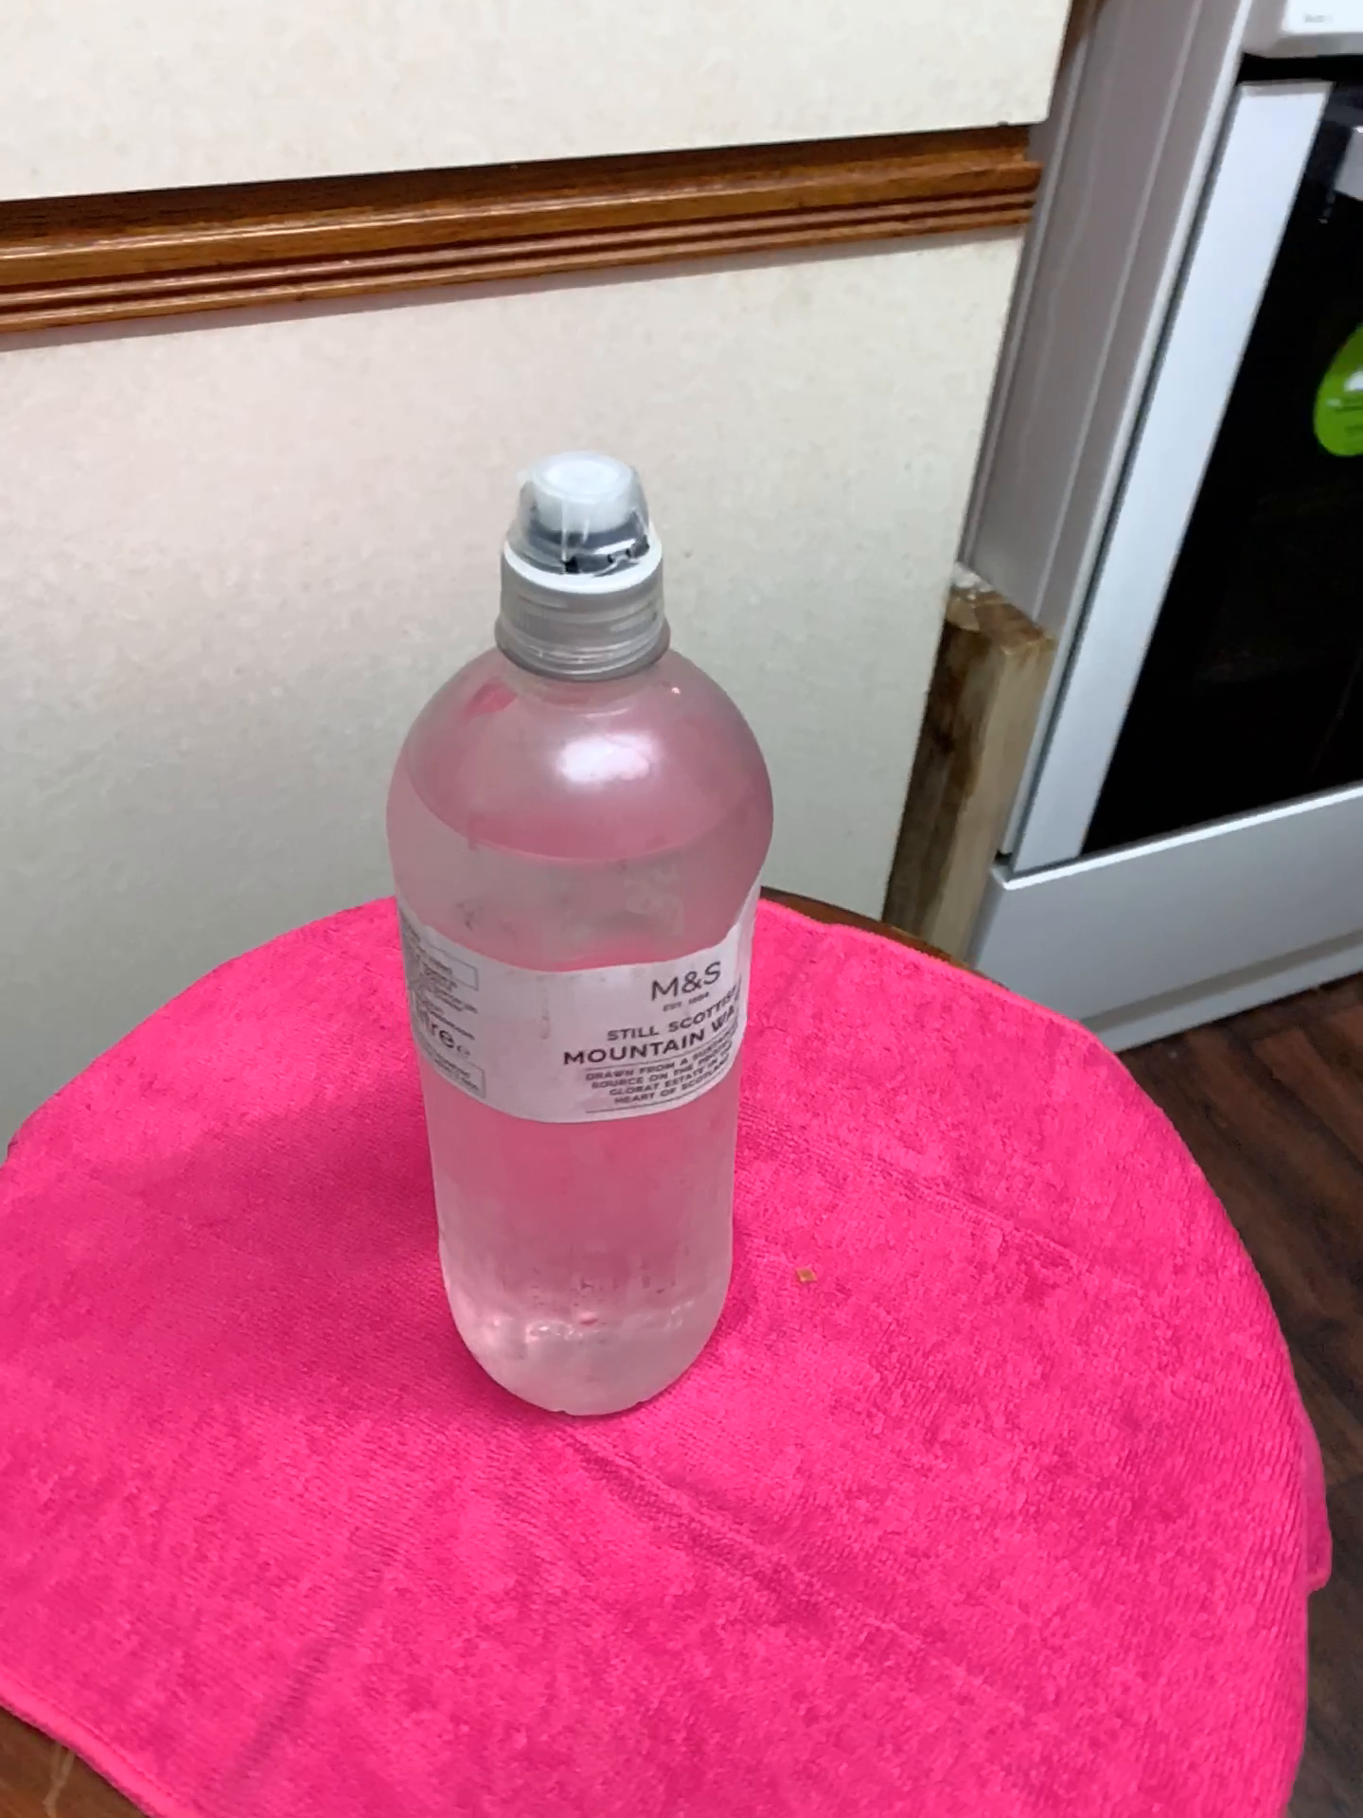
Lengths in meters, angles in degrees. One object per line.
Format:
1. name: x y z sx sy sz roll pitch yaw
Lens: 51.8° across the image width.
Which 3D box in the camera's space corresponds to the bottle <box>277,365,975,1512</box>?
1. bottle: -0.016 0.024 0.329 0.090 0.258 0.080 -28 51 -30
